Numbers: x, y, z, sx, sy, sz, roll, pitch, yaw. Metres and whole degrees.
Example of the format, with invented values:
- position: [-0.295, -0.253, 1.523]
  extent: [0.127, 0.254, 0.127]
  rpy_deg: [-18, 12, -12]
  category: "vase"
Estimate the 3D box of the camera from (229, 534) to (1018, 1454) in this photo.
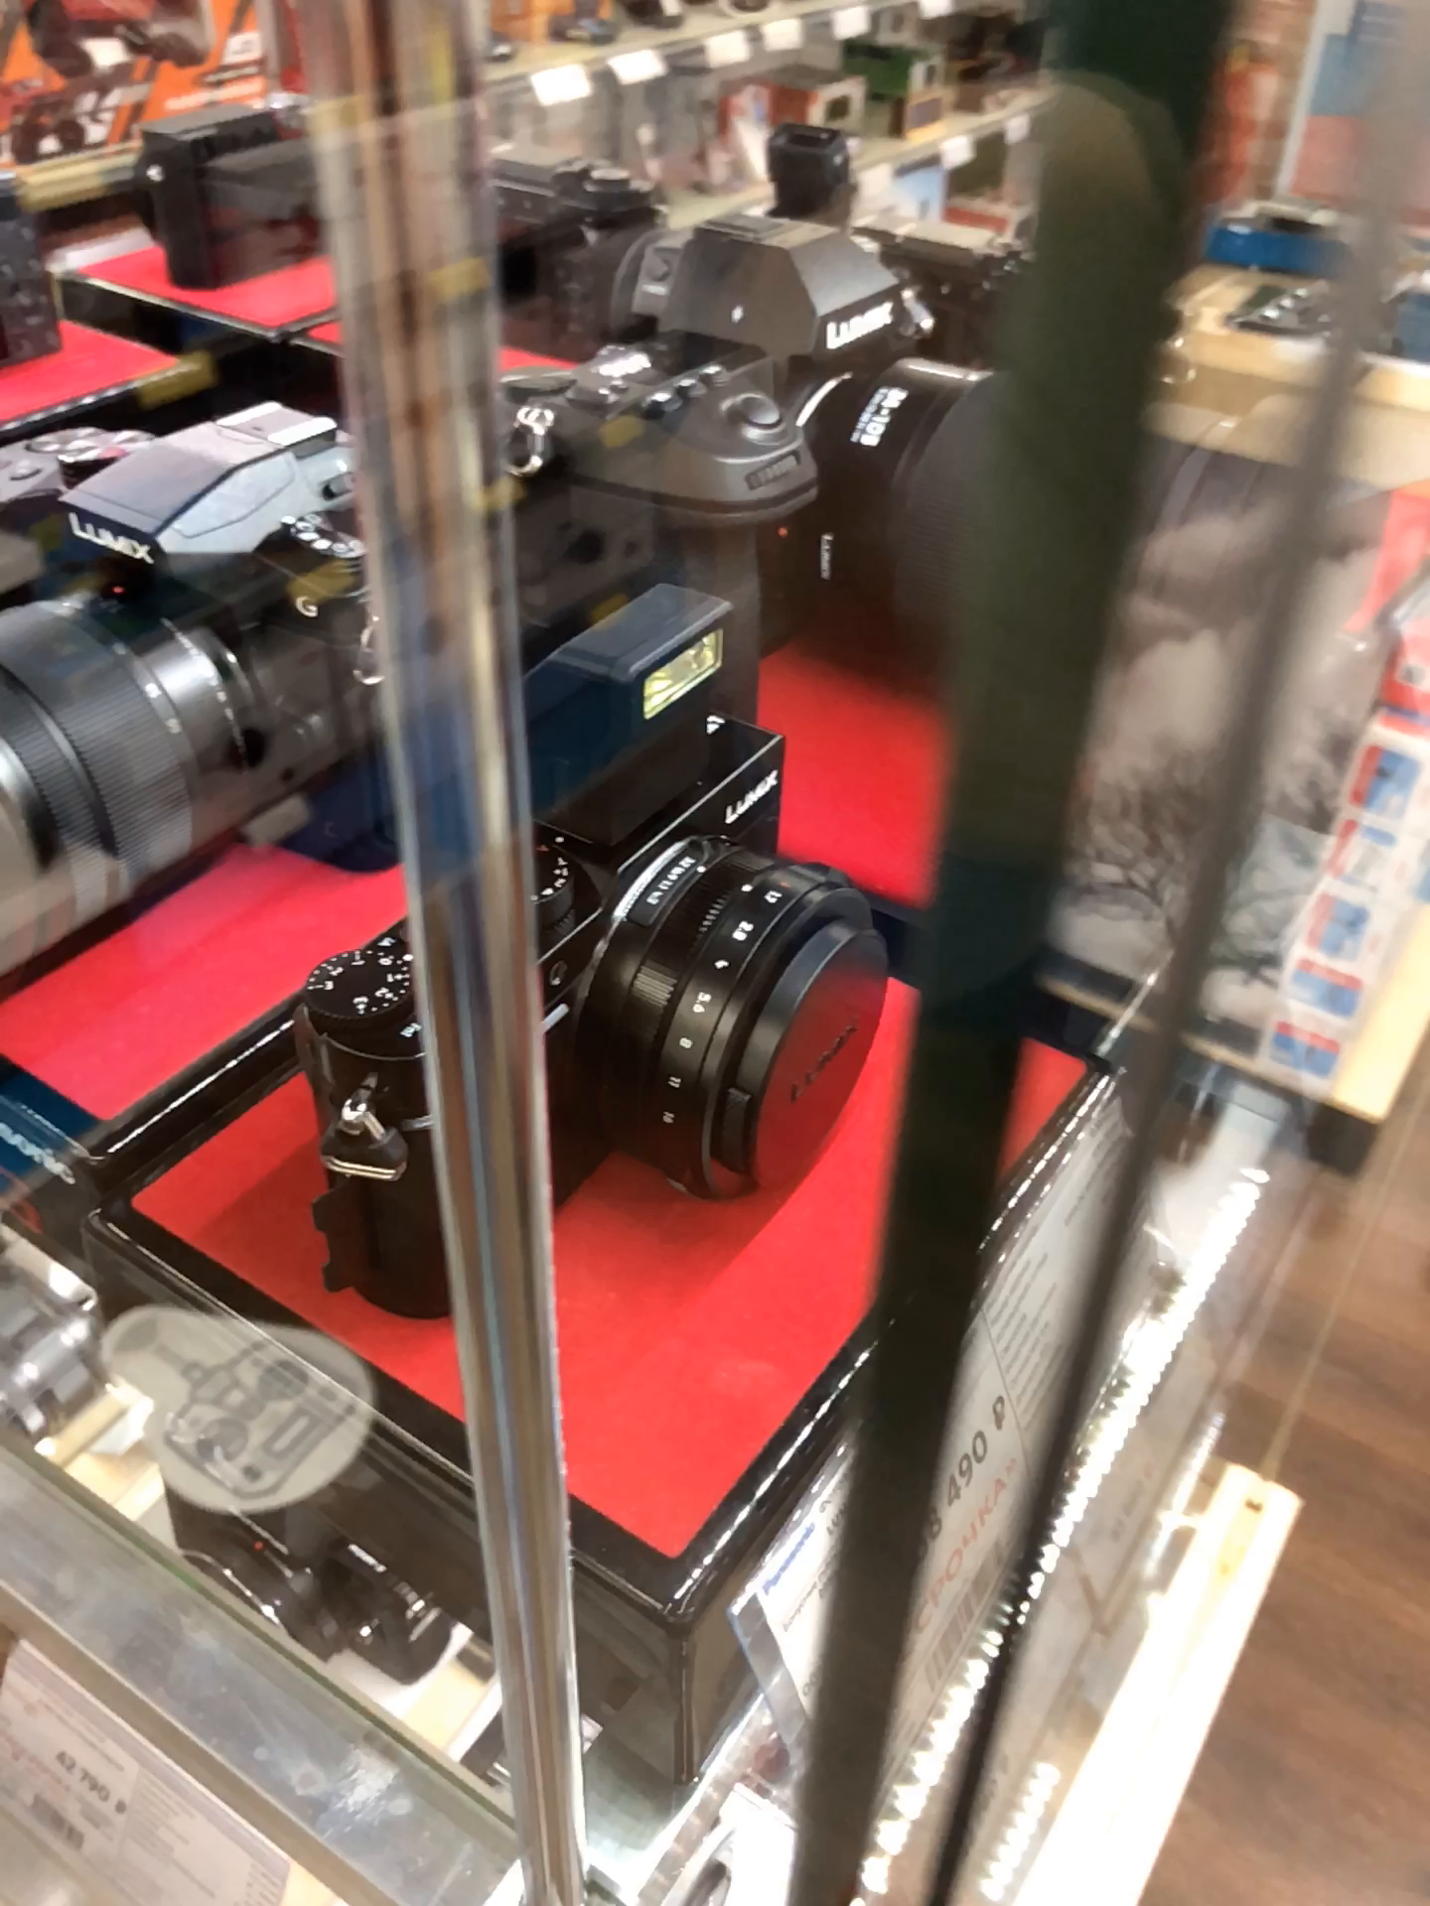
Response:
- position: [-0.009, 0.000, 0.280]
  extent: [0.069, 0.098, 0.117]
  rpy_deg: [22, 42, 24]
  category: "camera"

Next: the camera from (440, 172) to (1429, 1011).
- position: [0.075, -0.116, 0.428]
  extent: [0.226, 0.114, 0.176]
  rpy_deg: [23, 42, 24]
  category: "camera"

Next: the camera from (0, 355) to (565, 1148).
- position: [-0.118, -0.053, 0.326]
  extent: [0.098, 0.081, 0.150]
  rpy_deg: [25, 43, 27]
  category: "camera"
